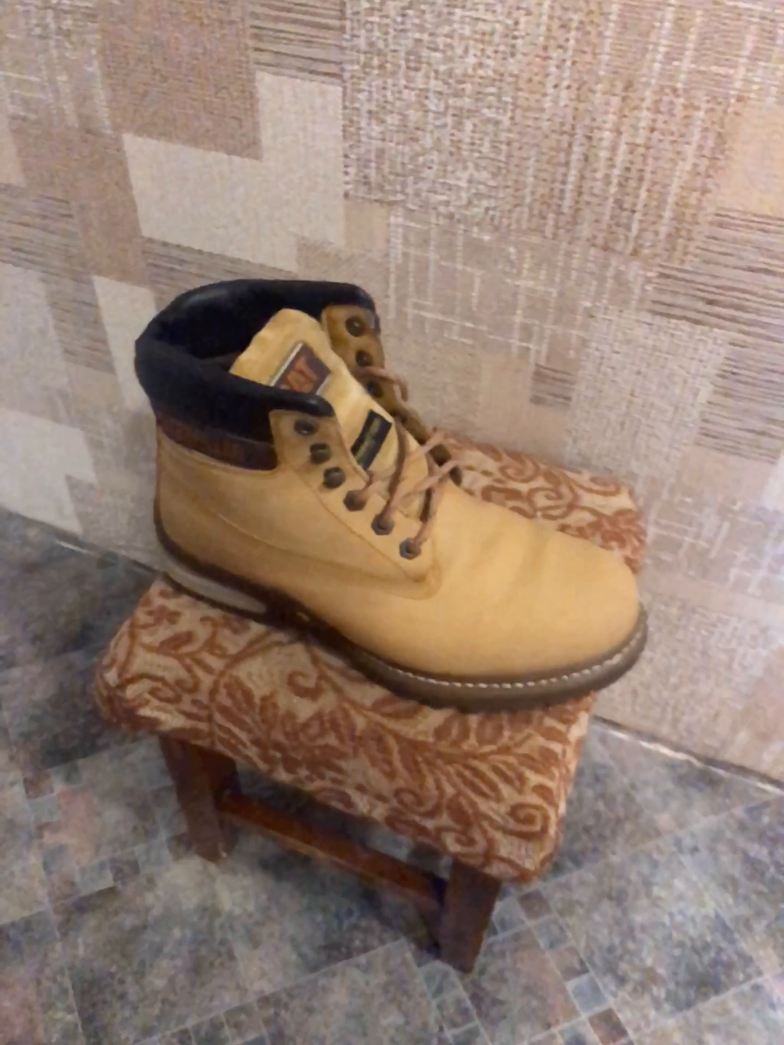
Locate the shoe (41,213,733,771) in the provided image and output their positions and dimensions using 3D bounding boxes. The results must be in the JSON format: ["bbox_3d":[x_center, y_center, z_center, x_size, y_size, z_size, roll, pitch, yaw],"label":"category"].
[{"bbox_3d":[-0.002,-0.018,0.467,0.290,0.189,0.130,17,49,13],"label":"shoe"}]
